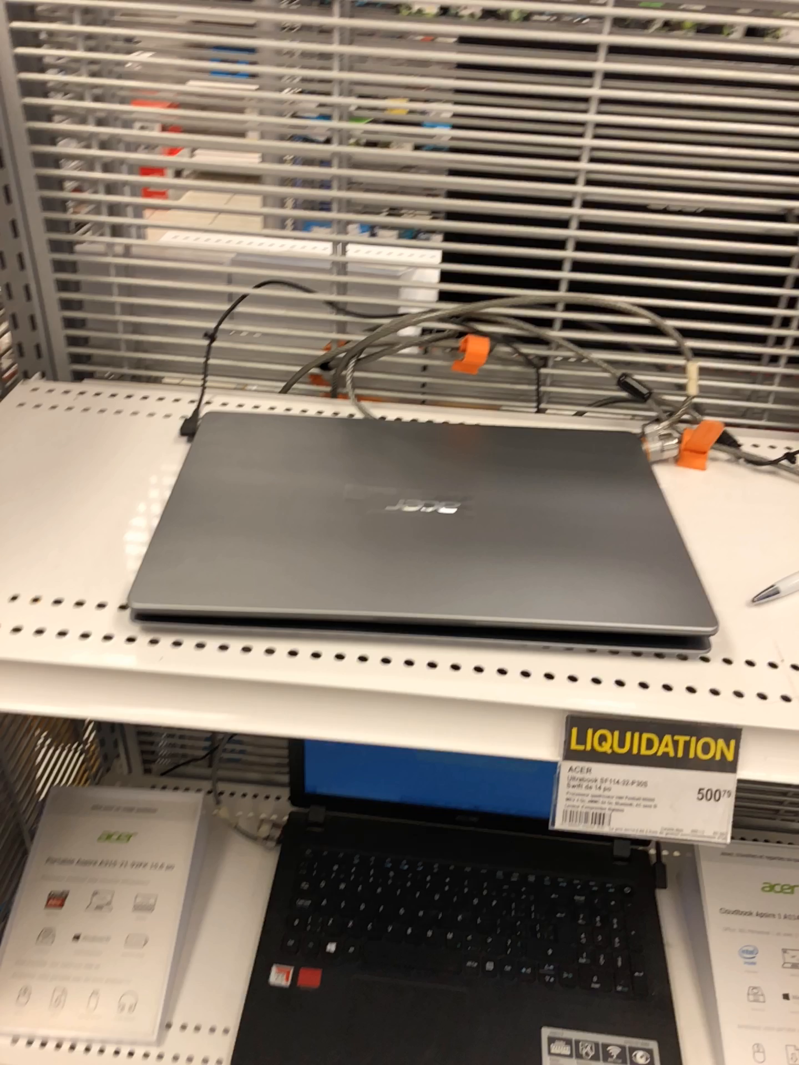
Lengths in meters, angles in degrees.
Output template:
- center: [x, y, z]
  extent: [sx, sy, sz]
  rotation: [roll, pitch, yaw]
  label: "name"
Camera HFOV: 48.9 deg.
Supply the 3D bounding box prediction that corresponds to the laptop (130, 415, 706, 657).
- center: [0.013, -0.010, 0.569]
  extent: [0.315, 0.006, 0.220]
  rotation: [3, 38, 0]
  label: "laptop"
